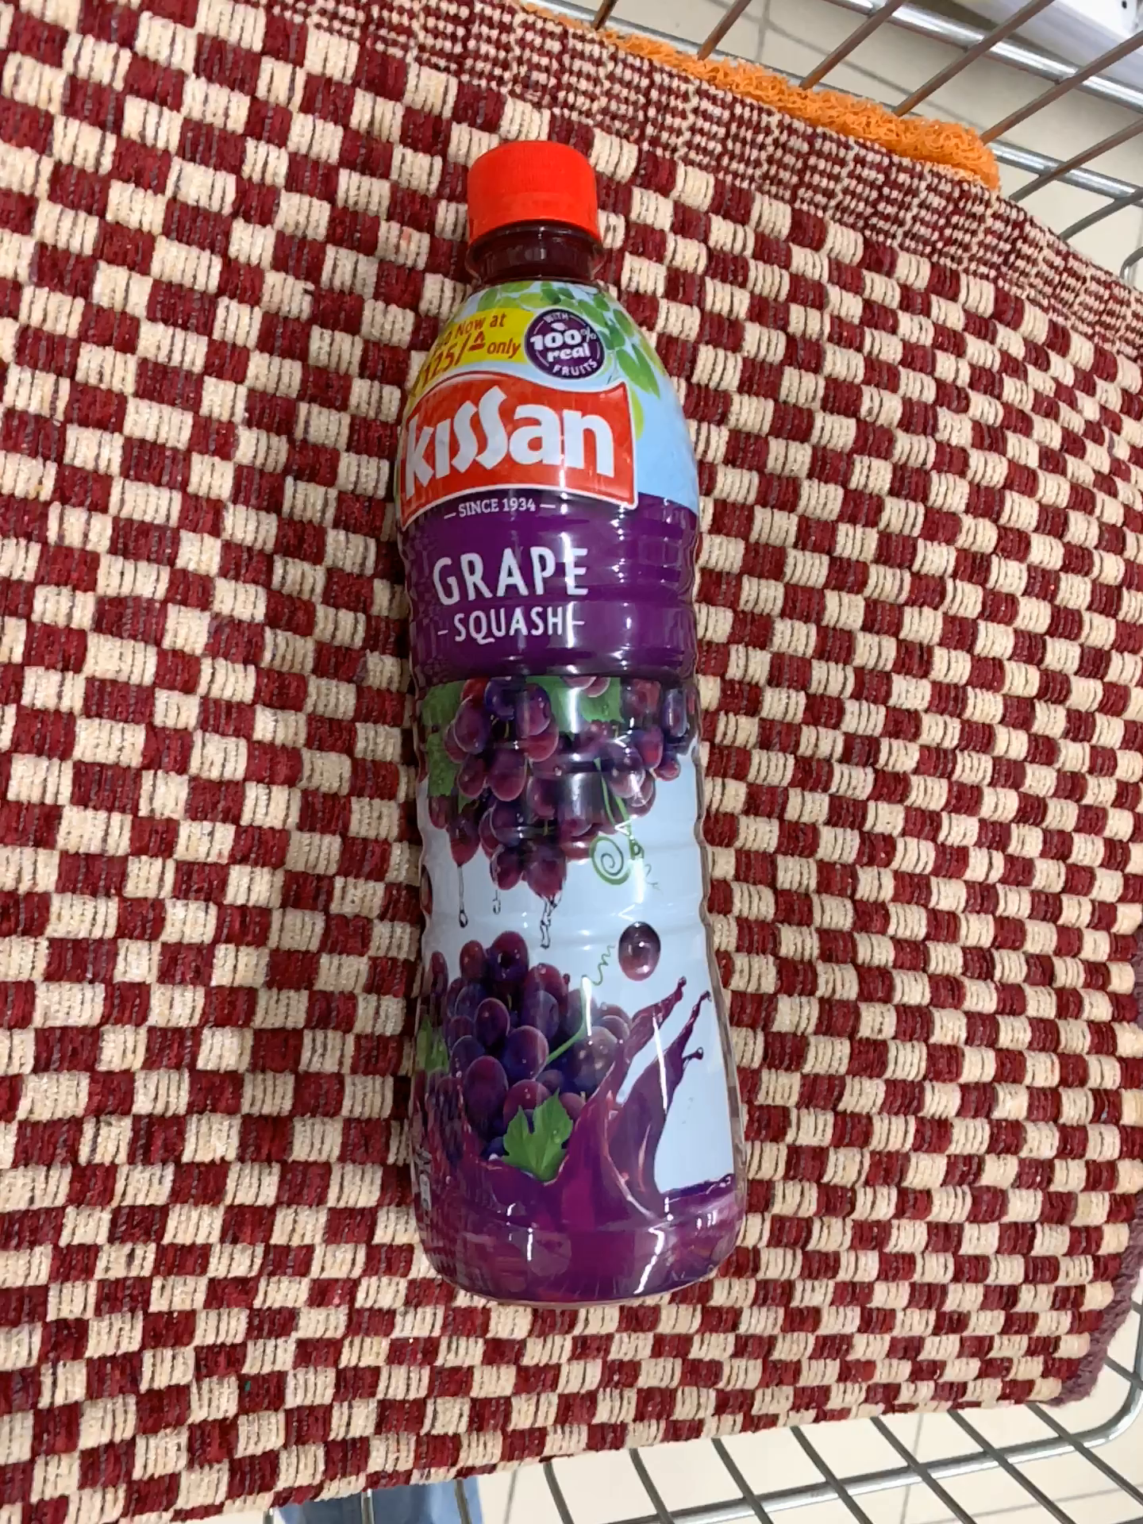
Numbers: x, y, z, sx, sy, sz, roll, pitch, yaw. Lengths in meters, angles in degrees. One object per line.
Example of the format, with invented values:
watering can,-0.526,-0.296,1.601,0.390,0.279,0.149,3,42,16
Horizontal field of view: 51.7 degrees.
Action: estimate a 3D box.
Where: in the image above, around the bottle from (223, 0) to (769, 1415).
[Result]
bottle,-0.010,-0.017,0.238,0.080,0.080,0.240,0,89,-68
